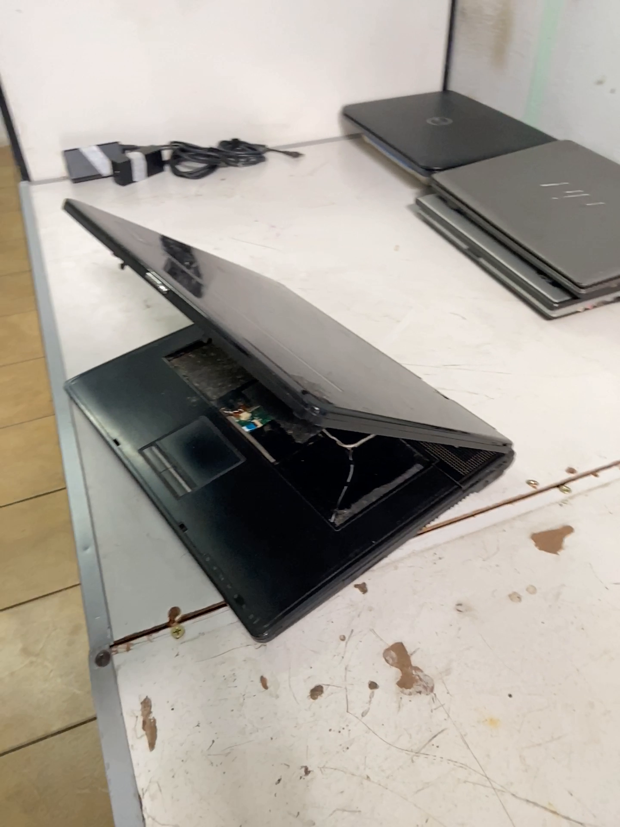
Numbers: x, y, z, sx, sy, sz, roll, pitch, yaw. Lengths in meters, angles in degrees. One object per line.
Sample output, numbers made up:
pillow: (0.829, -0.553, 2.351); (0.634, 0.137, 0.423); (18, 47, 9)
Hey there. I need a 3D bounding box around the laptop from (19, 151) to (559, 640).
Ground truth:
laptop: (-0.036, -0.057, 0.539); (0.260, 0.164, 0.349); (-29, 48, -25)
